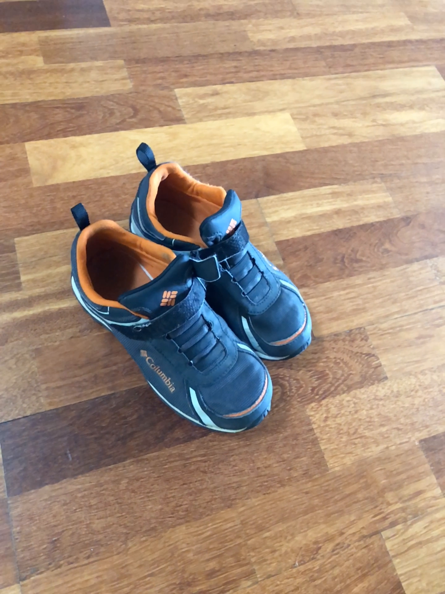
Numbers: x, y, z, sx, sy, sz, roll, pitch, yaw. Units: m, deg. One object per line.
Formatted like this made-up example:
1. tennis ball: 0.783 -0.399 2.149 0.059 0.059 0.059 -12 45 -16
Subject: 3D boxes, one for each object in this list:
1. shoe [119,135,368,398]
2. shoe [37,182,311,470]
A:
1. shoe: 0.010 -0.033 0.550 0.112 0.127 0.252 -38 76 -25
2. shoe: -0.052 0.027 0.467 0.097 0.102 0.247 -38 76 -25
